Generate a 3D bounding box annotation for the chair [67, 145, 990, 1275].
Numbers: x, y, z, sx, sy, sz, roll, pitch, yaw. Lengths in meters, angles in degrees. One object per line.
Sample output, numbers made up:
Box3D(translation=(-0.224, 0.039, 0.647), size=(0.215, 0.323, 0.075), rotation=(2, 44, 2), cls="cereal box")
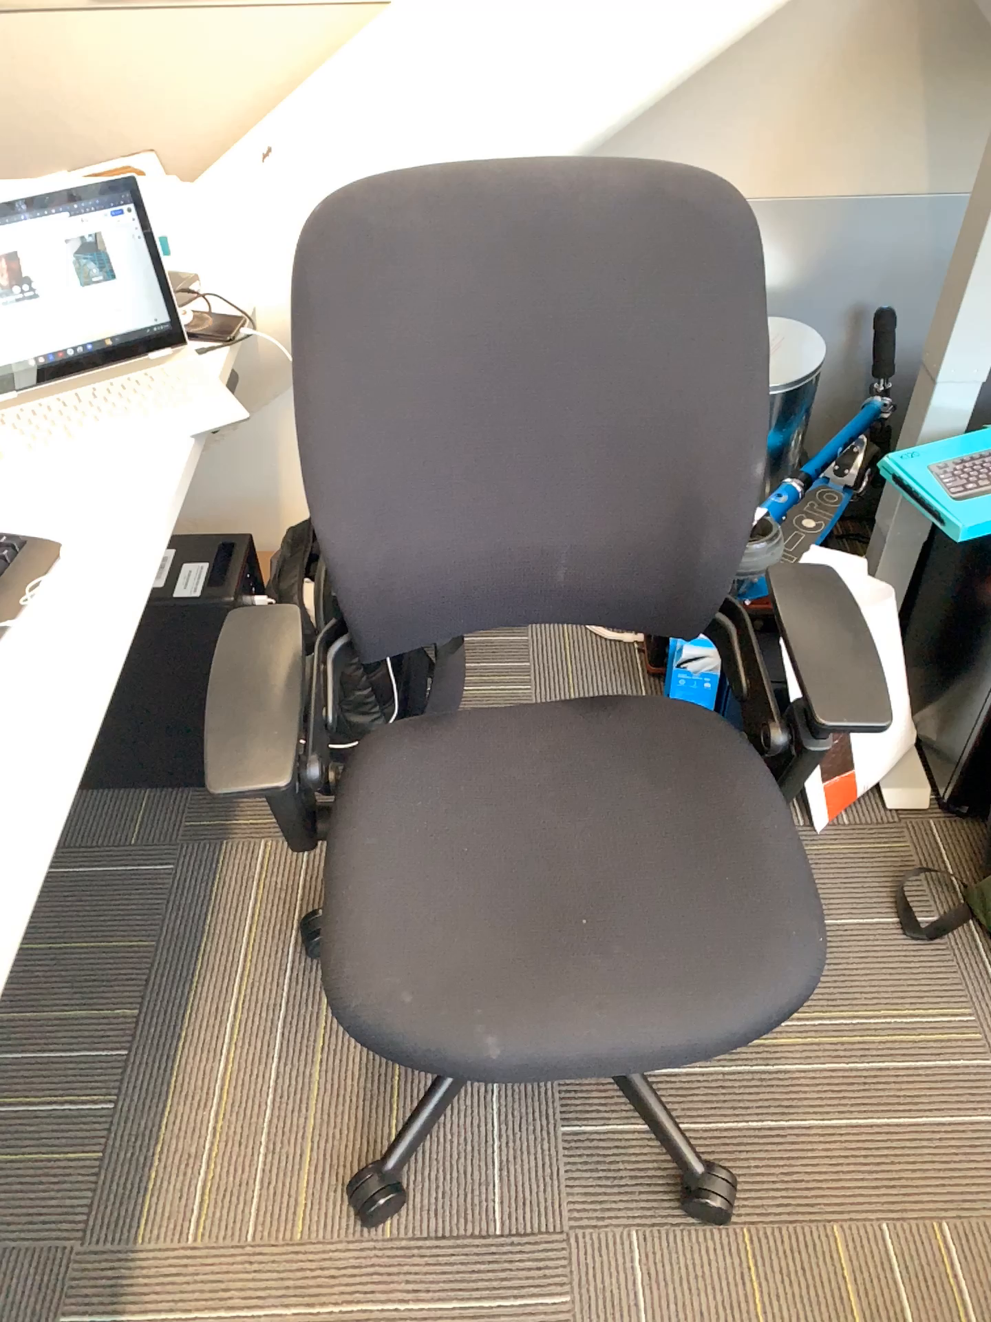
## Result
Box3D(translation=(0.066, 0.203, 1.253), size=(0.580, 1.362, 0.634), rotation=(-1, 44, 1), cls="chair")
